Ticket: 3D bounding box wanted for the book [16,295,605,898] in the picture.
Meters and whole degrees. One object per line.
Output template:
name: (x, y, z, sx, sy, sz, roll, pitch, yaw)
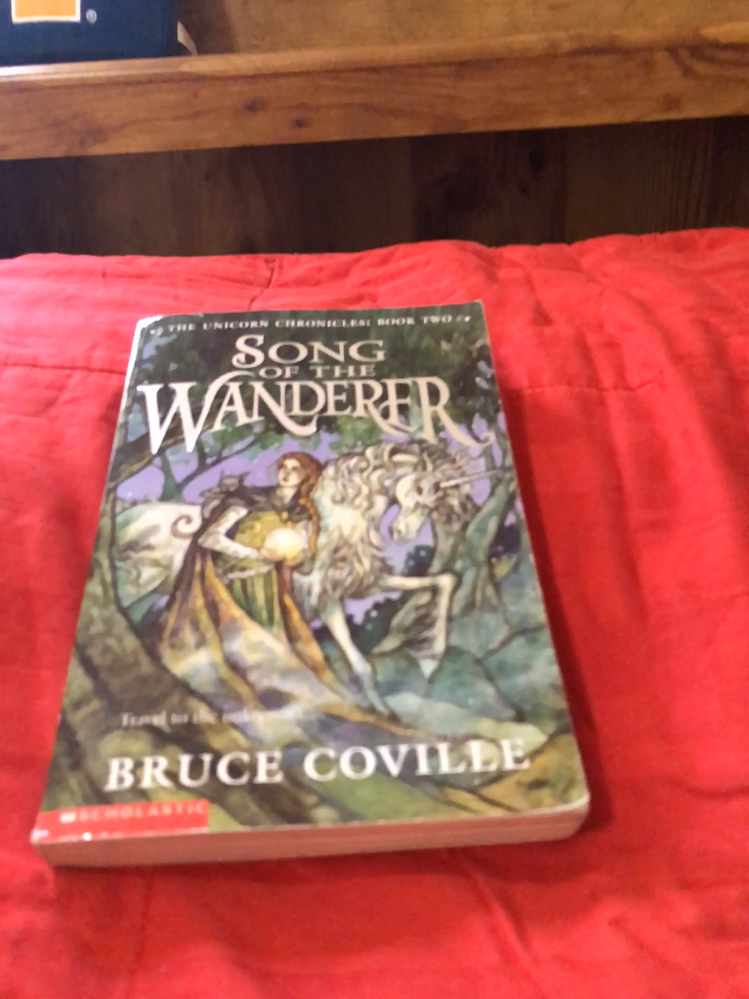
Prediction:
book: (-0.018, 0.012, 0.253, 0.130, 0.030, 0.192, -3, 52, -1)
